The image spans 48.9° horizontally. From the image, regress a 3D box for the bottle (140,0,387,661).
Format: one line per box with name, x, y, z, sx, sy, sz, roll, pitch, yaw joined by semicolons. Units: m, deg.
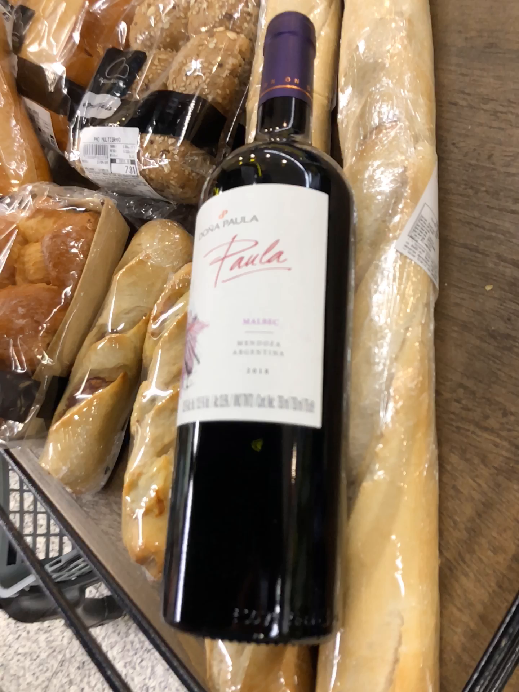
bottle;0.012;-0.036;0.258;0.070;0.060;0.300;-8;68;32
